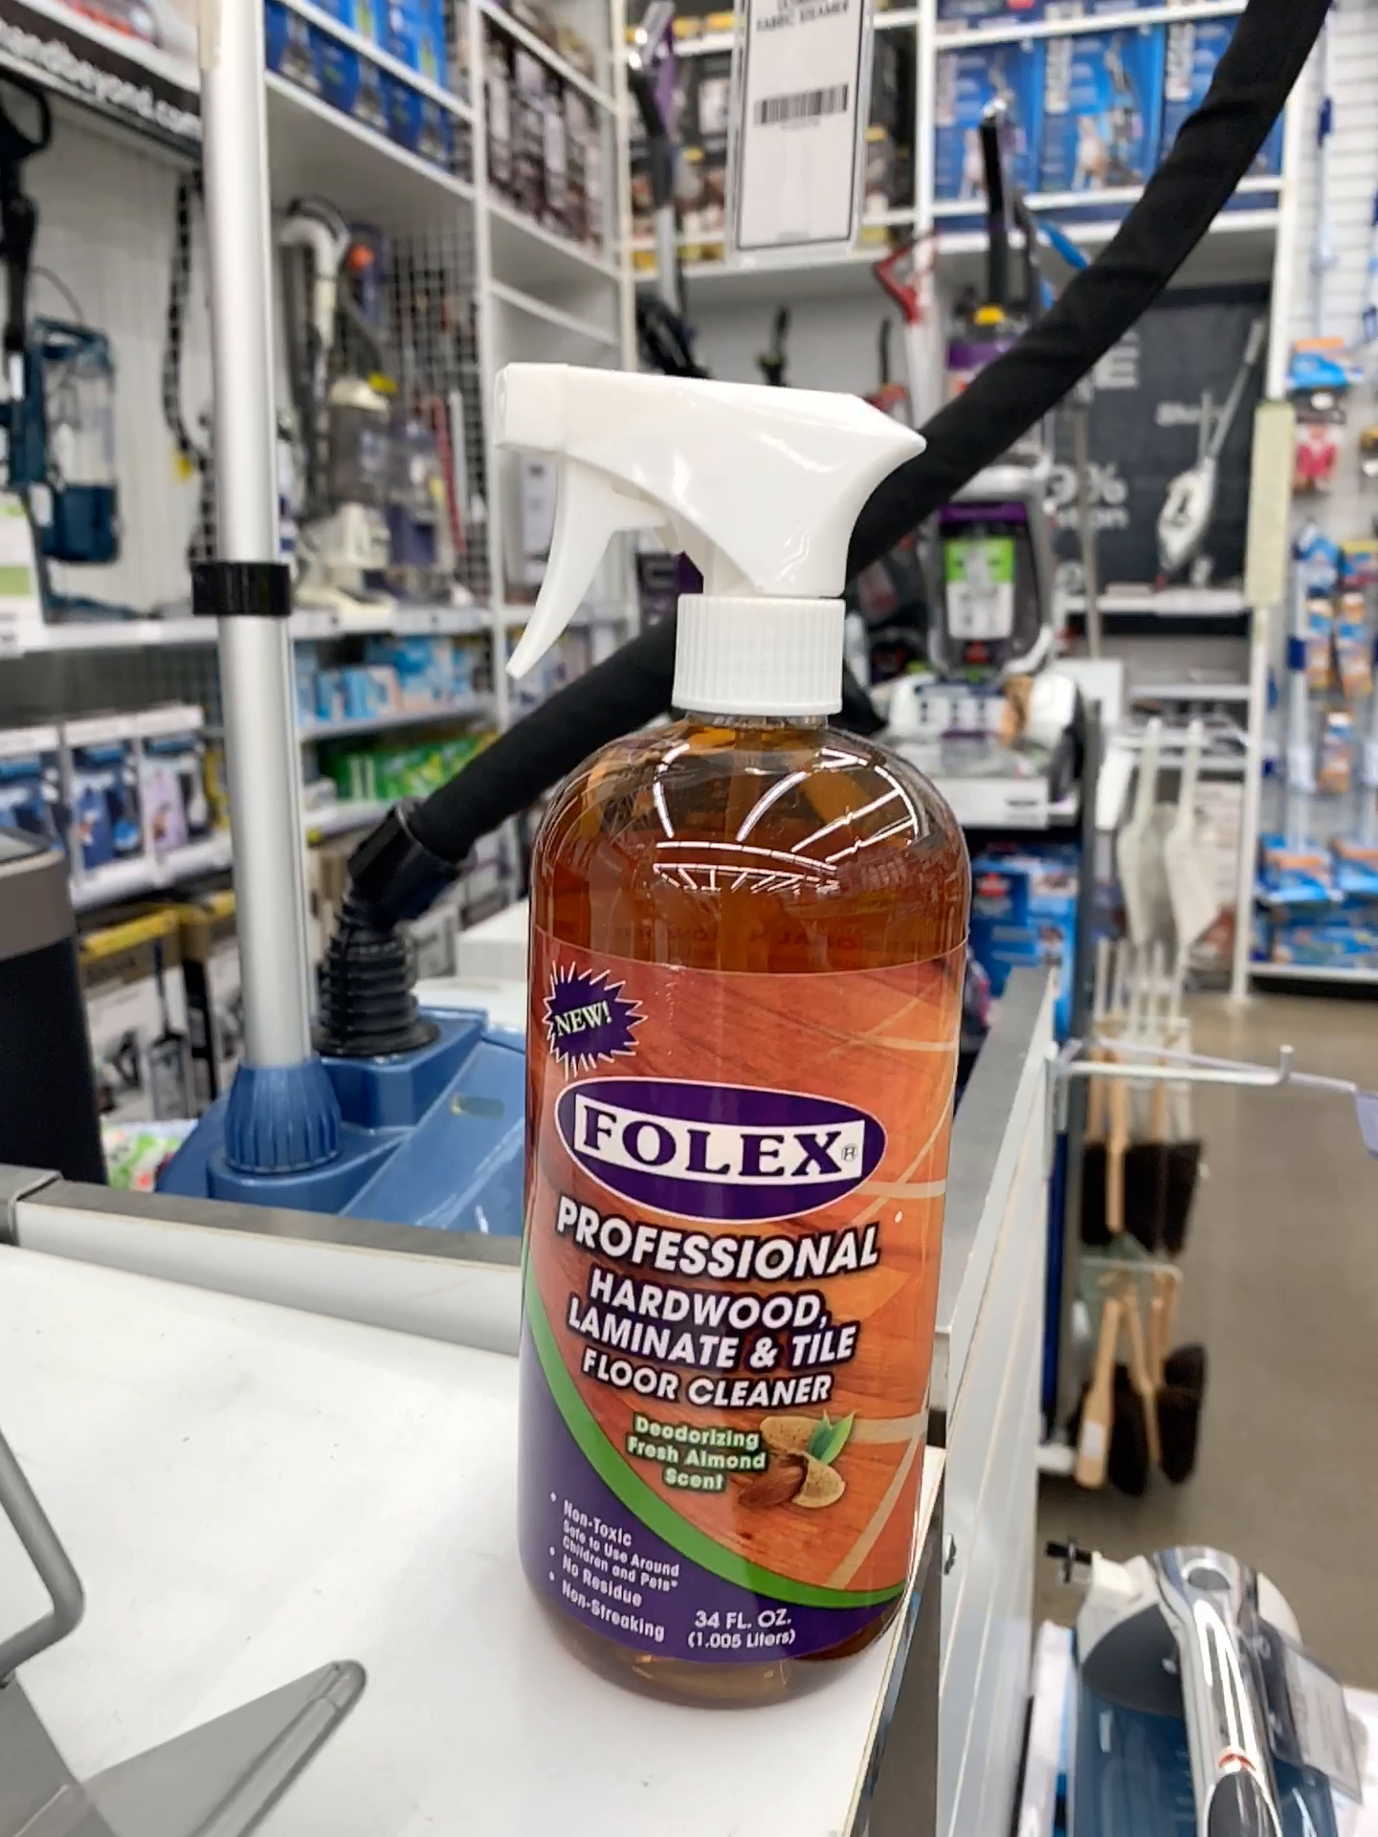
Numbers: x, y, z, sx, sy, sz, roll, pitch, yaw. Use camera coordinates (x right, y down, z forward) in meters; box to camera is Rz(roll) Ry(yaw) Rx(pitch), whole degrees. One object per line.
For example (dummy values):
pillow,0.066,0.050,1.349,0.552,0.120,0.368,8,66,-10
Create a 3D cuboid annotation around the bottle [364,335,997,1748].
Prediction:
bottle,0.005,0.023,0.294,0.100,0.249,0.090,1,12,9
